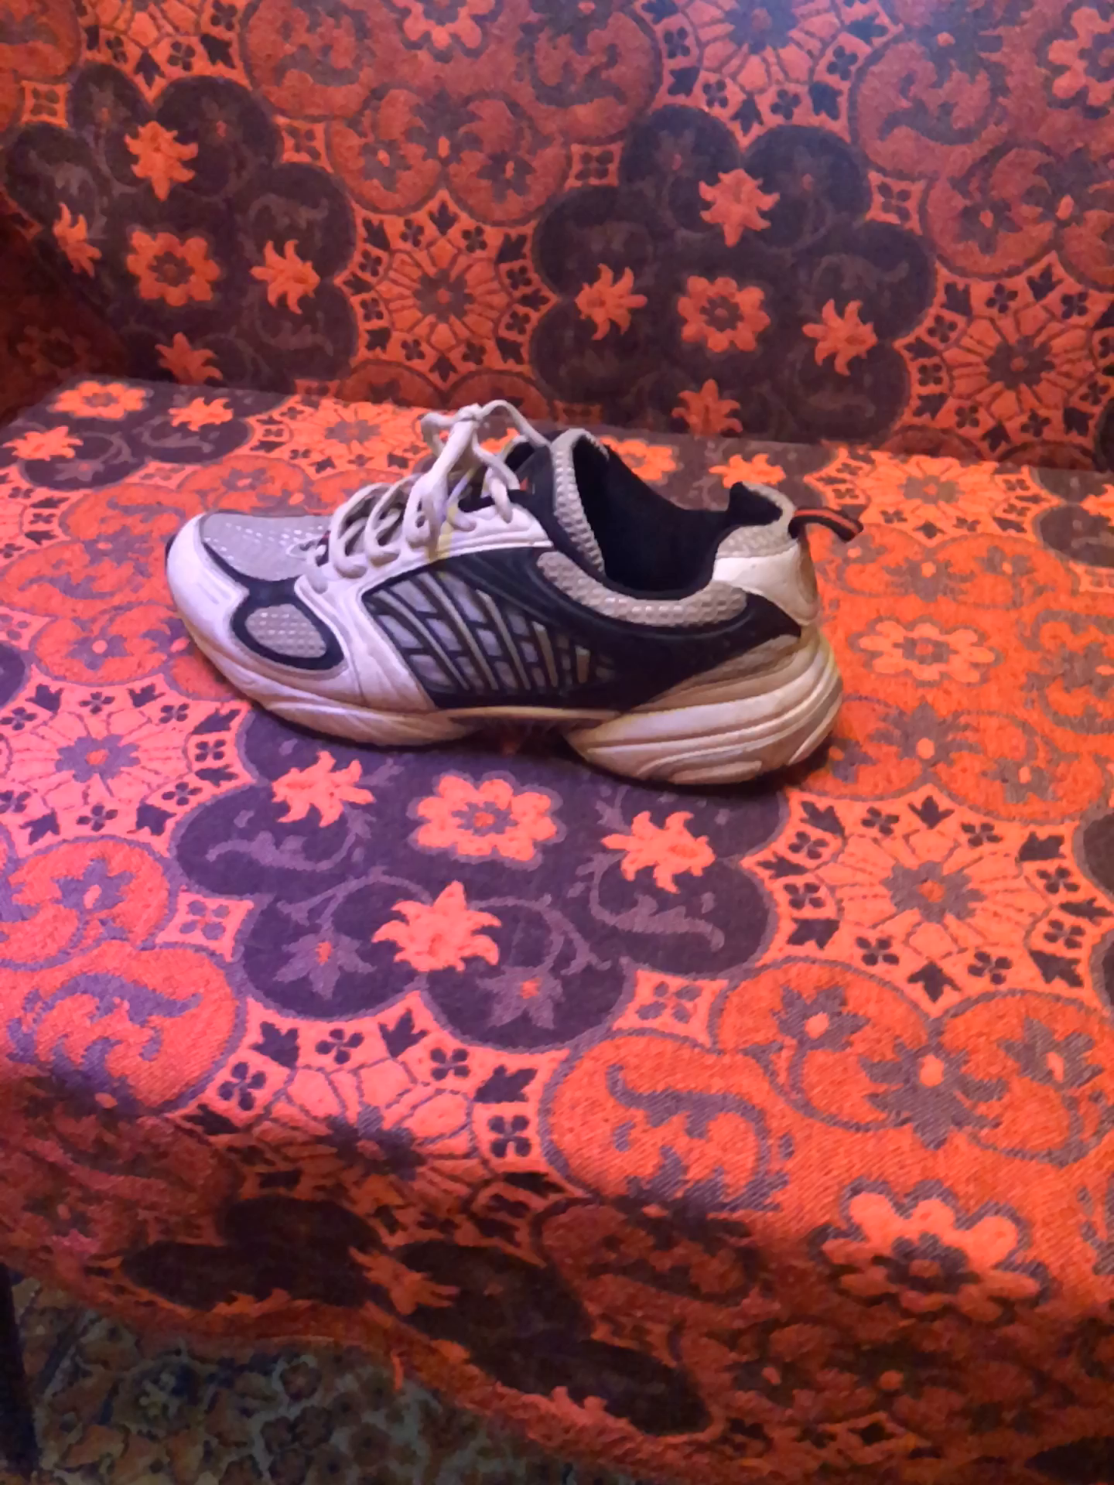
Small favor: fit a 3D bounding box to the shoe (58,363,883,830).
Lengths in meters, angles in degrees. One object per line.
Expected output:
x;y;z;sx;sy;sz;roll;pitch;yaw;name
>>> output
-0.028;-0.069;0.517;0.300;0.109;0.121;9;39;11;shoe
